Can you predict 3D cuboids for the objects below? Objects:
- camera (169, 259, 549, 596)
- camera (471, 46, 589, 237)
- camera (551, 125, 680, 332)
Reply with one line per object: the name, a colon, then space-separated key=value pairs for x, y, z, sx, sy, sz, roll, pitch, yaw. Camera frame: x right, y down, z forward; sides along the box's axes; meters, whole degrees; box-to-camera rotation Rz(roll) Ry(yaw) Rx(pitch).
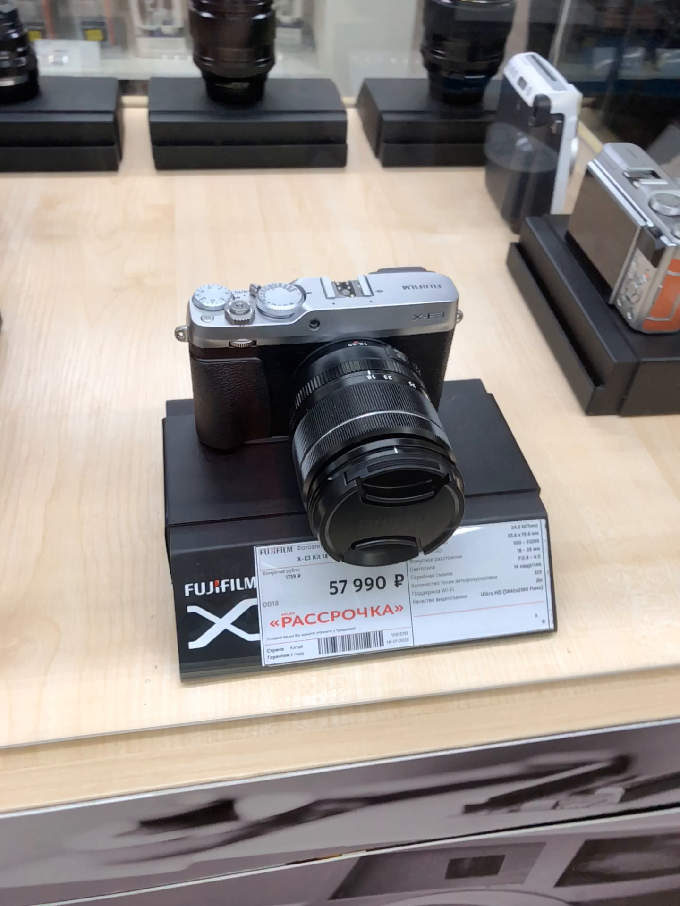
camera: x=-0.003 y=-0.016 z=0.326 sx=0.131 sy=0.080 sz=0.116 roll=-4 pitch=45 yaw=-10
camera: x=0.140 y=-0.239 z=0.578 sx=0.045 sy=0.109 sz=0.088 roll=-4 pitch=45 yaw=-6
camera: x=0.199 y=-0.143 z=0.469 sx=0.077 sy=0.068 sz=0.132 roll=-3 pitch=45 yaw=-8
